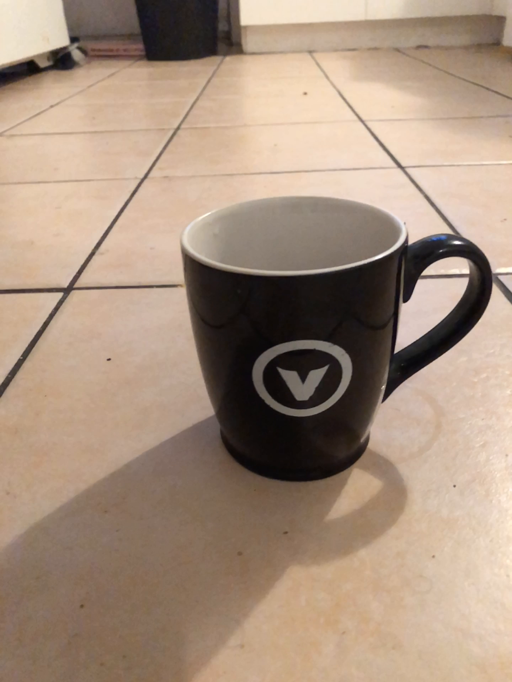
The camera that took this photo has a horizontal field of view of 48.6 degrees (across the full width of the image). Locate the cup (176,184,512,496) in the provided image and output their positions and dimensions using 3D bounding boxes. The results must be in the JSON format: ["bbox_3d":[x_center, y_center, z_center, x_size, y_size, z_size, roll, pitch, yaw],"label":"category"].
[{"bbox_3d":[0.040,-0.007,0.267,0.140,0.100,0.101,-4,30,-3],"label":"cup"}]
